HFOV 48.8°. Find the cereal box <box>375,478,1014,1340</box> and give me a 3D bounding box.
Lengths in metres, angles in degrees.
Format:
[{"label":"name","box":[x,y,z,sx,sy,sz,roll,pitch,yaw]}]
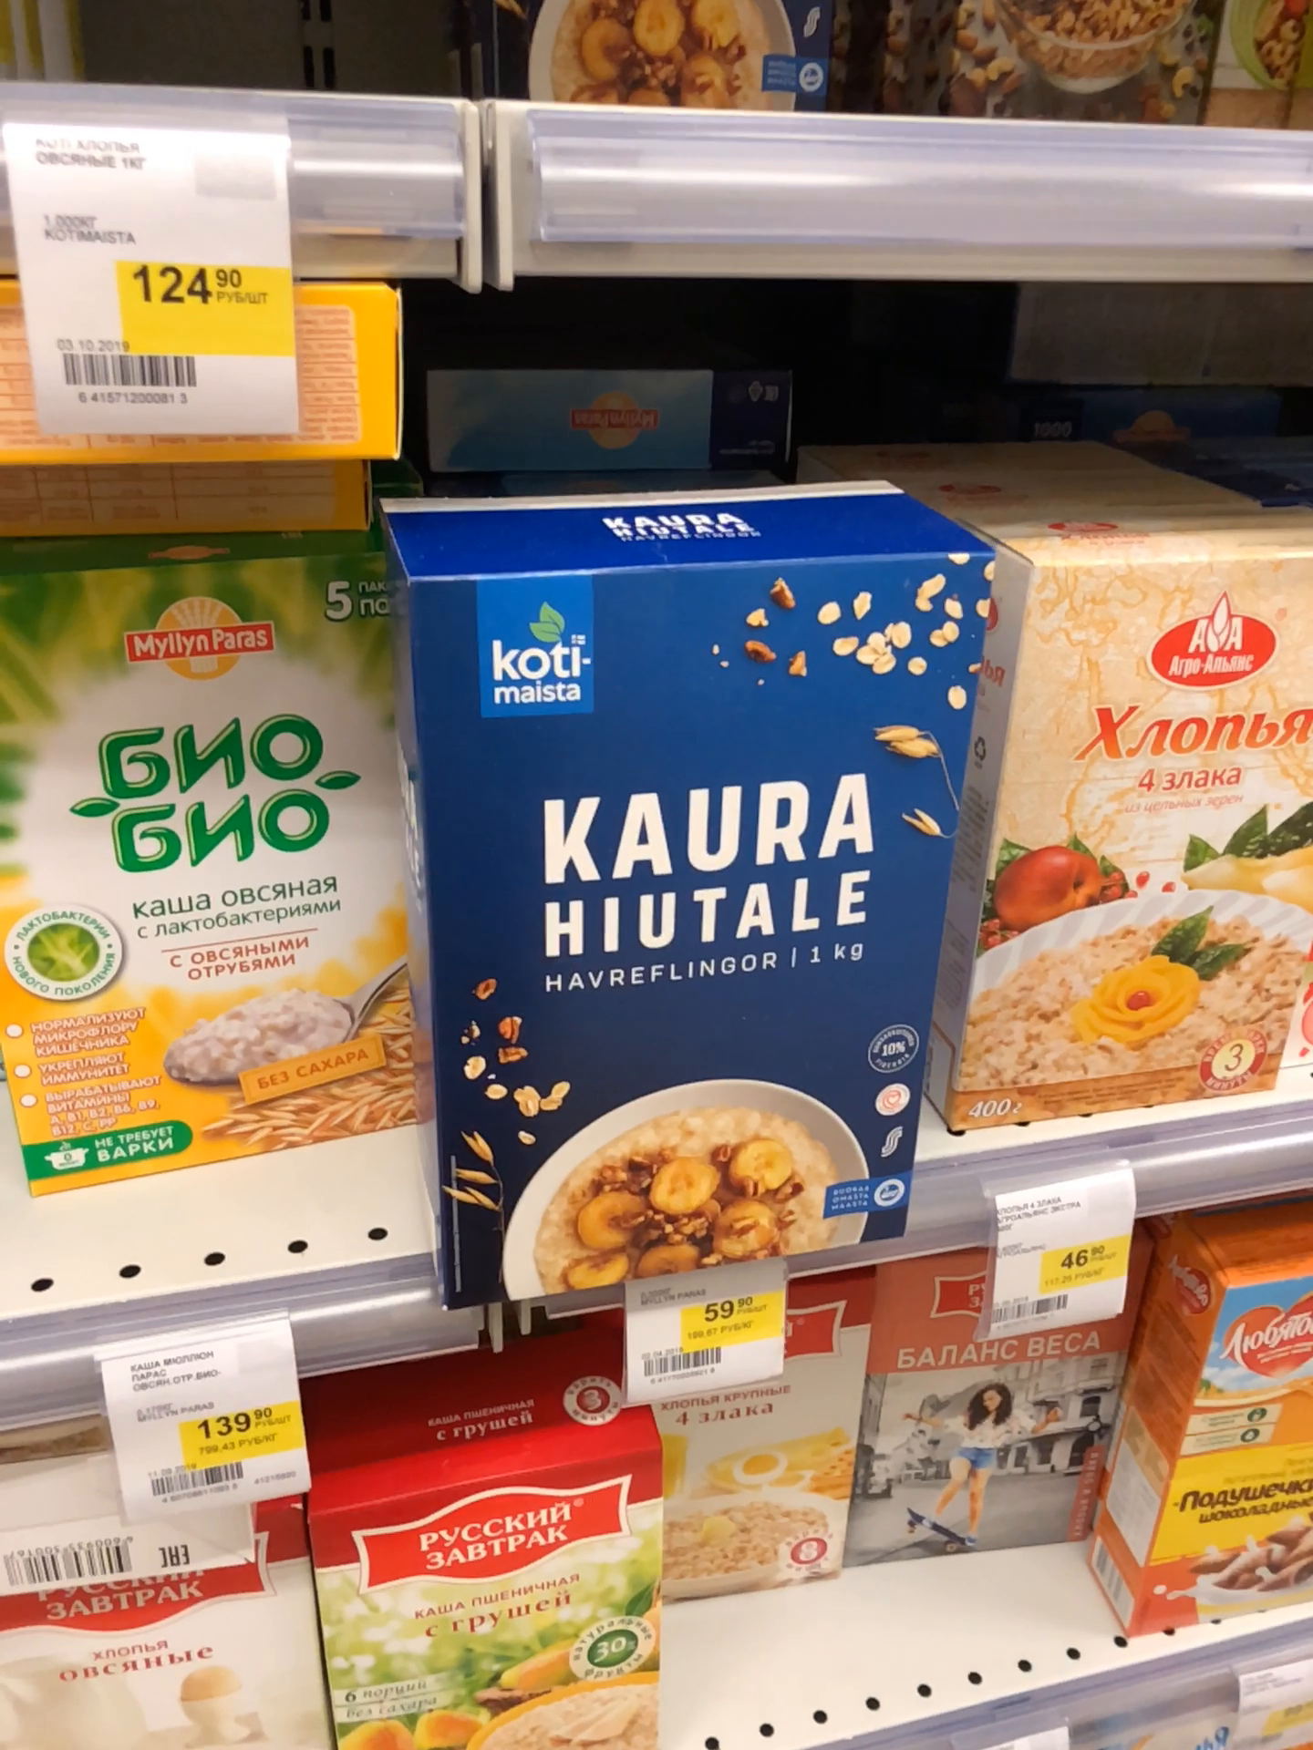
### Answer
[{"label":"cereal box","box":[0.003,0.010,0.427,0.150,0.229,0.080,-6,27,-14]}]
